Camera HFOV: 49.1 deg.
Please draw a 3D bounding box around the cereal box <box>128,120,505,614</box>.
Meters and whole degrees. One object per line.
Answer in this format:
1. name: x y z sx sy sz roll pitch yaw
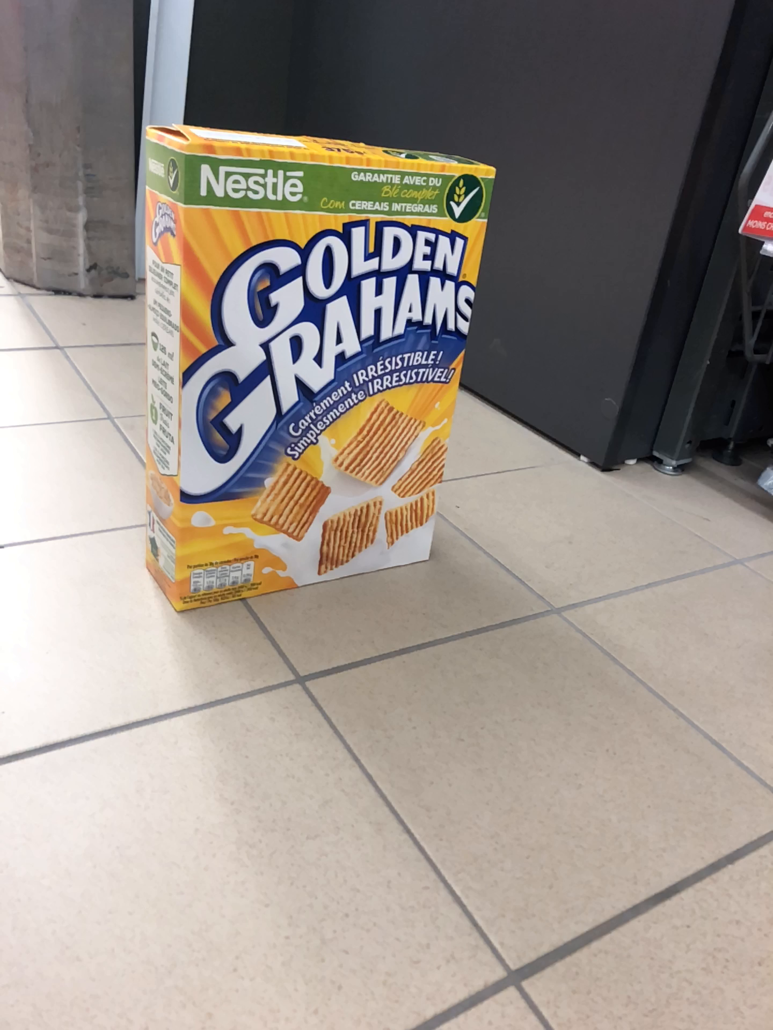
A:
1. cereal box: -0.051 -0.088 0.533 0.201 0.268 0.070 -10 33 -31
